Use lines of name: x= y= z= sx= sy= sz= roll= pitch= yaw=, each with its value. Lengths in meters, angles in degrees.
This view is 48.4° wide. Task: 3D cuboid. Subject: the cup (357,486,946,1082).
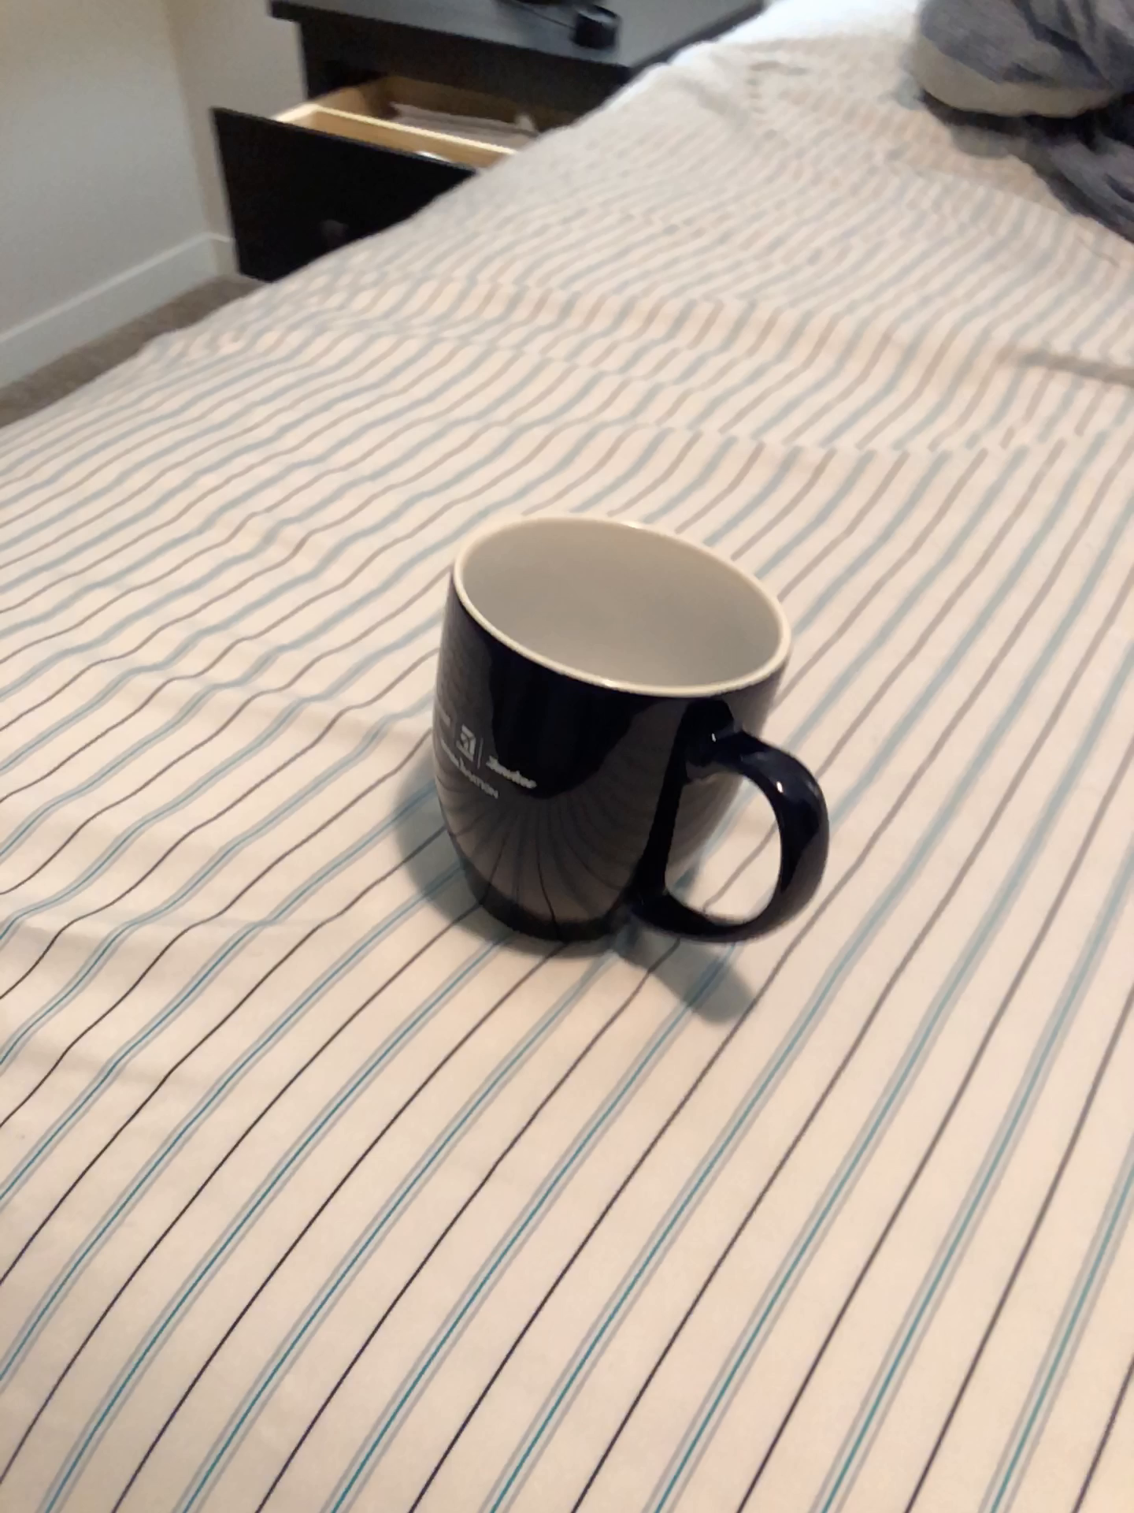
cup: x=0.015 y=-0.001 z=0.359 sx=0.090 sy=0.090 sz=0.130 roll=-21 pitch=46 yaw=-34
